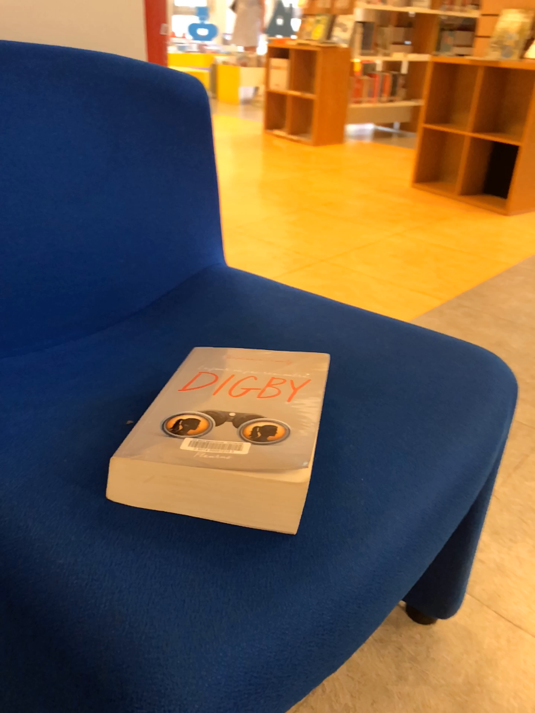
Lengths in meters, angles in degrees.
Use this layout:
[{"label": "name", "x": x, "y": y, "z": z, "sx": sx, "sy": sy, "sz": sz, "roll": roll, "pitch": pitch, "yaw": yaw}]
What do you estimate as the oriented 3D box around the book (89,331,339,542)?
[{"label": "book", "x": -0.027, "y": 0.049, "z": 0.487, "sx": 0.151, "sy": 0.056, "sz": 0.212, "roll": 7, "pitch": 23, "yaw": 8}]
